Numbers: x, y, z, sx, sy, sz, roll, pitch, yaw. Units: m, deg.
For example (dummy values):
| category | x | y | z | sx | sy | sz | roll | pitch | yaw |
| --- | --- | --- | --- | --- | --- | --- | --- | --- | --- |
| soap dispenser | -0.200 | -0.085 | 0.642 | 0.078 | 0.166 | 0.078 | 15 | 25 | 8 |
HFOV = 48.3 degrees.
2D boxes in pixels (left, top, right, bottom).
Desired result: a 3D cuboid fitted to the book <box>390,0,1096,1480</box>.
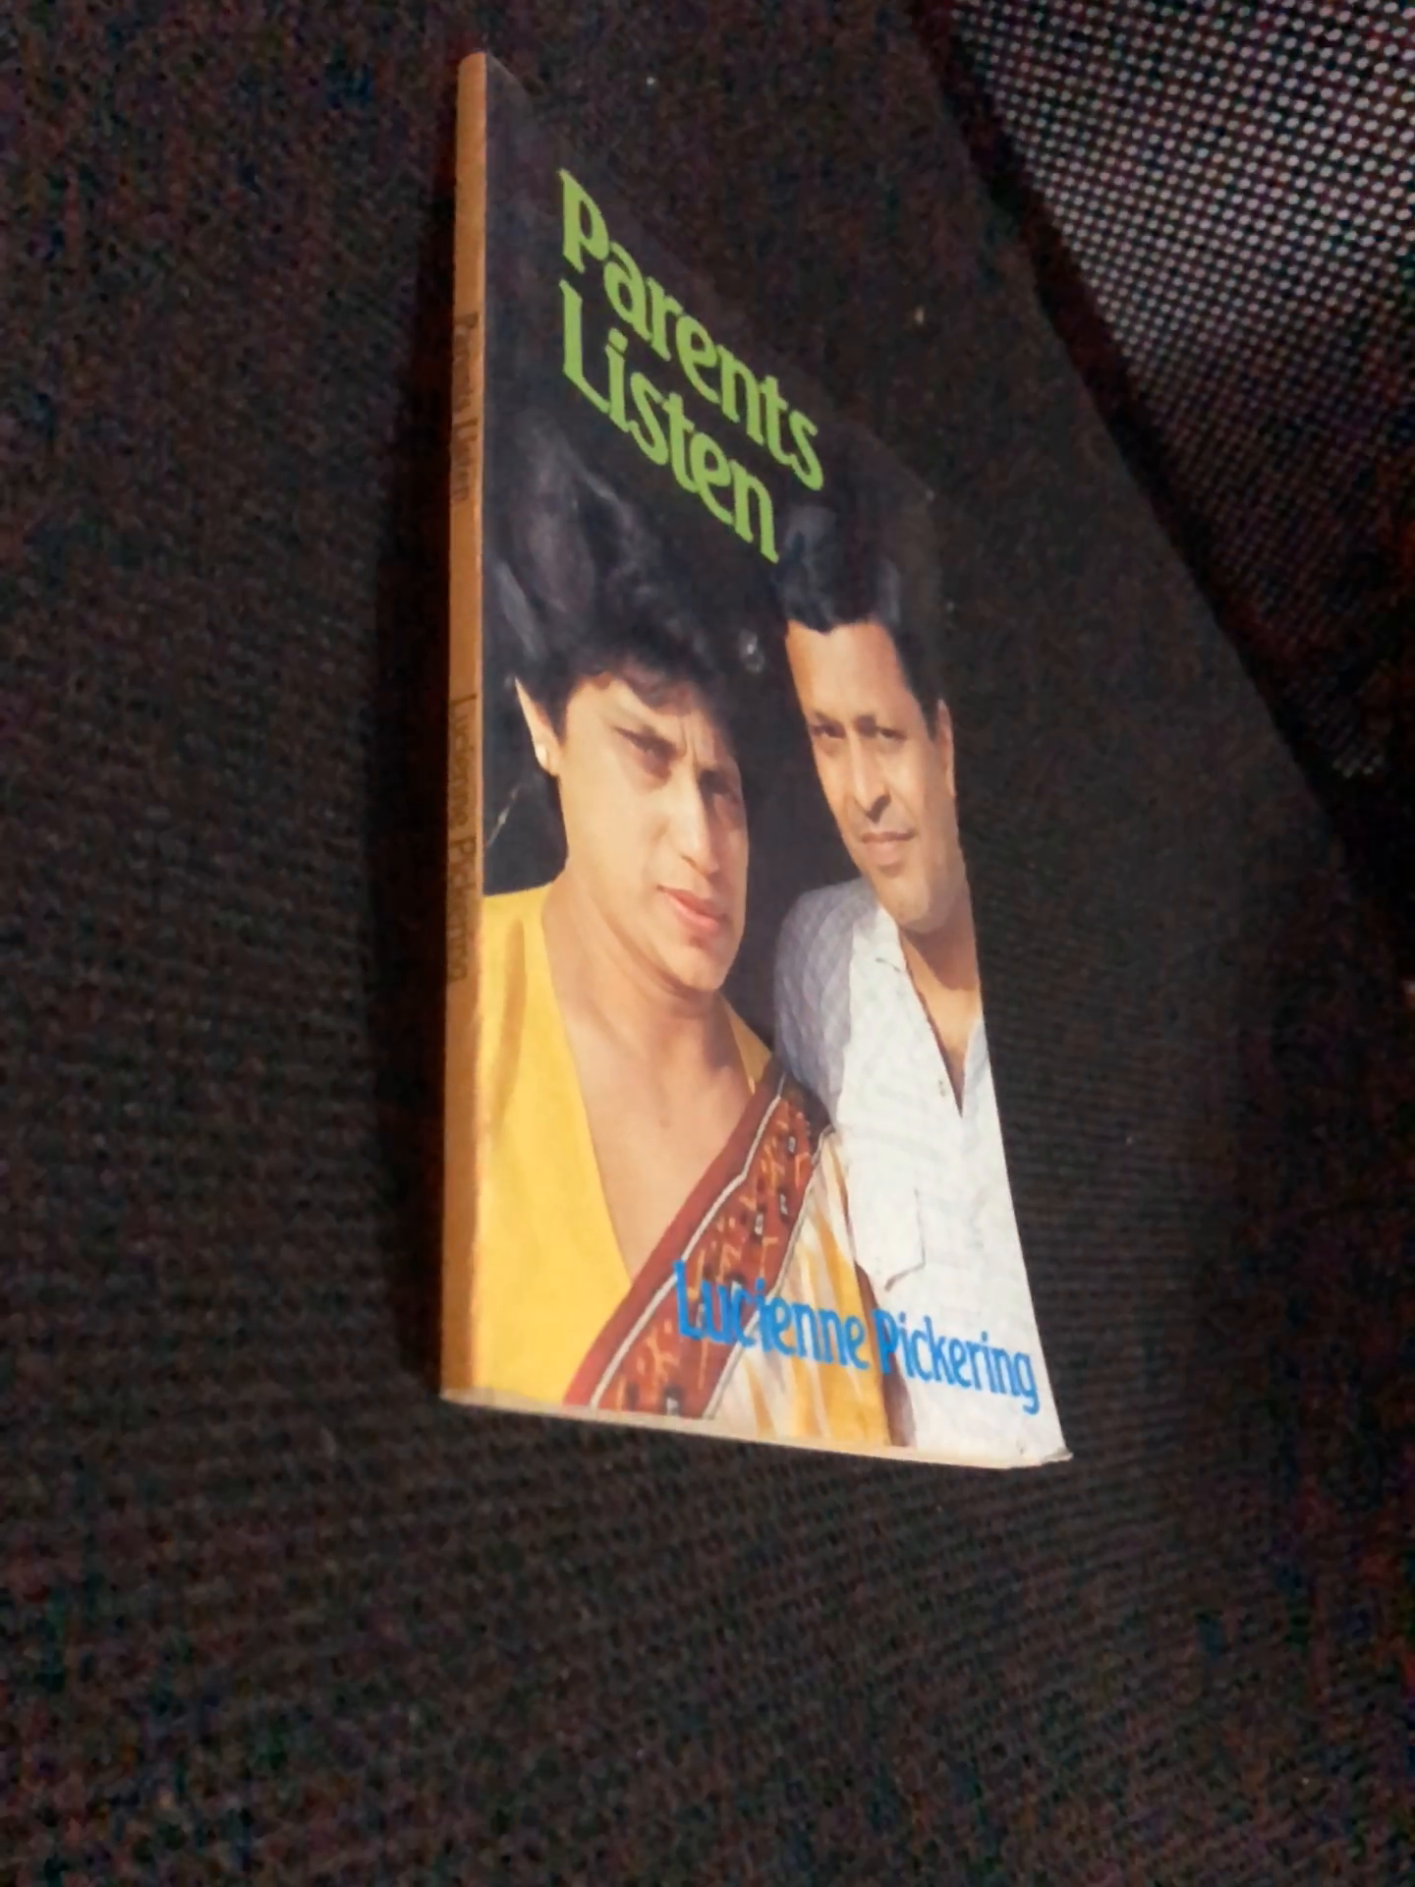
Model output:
| category | x | y | z | sx | sy | sz | roll | pitch | yaw |
| --- | --- | --- | --- | --- | --- | --- | --- | --- | --- |
| book | 0.008 | -0.026 | 0.228 | 0.130 | 0.010 | 0.191 | 27 | 51 | -48 |
